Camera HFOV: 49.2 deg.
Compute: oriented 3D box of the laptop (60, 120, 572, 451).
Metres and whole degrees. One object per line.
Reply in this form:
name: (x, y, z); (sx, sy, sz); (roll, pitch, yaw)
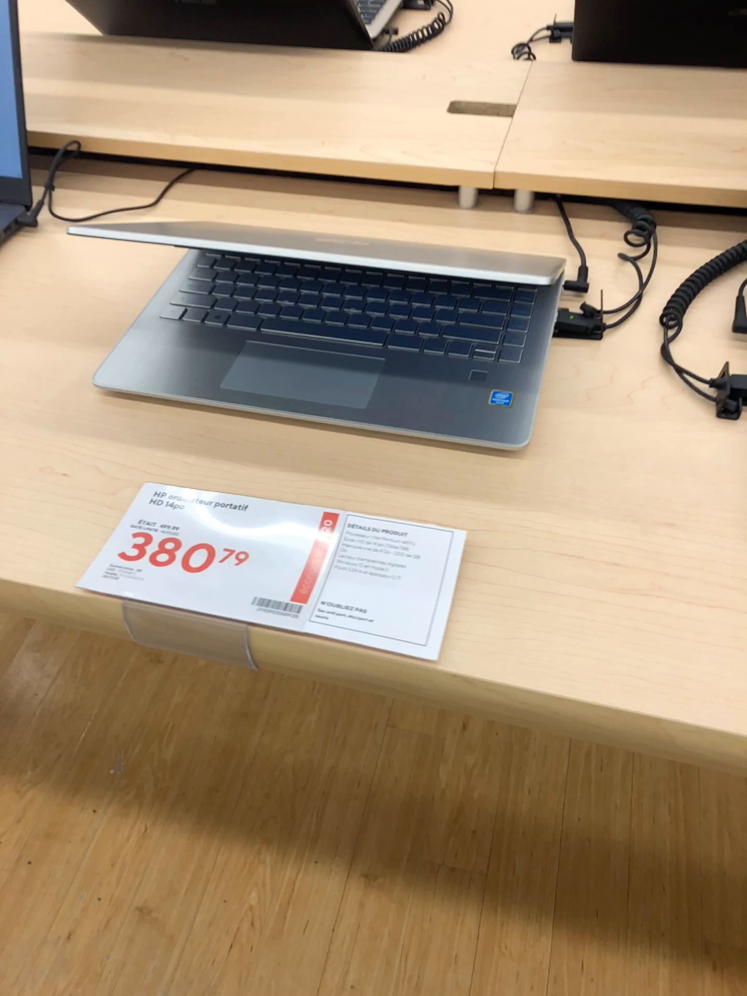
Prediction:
laptop: (-0.030, -0.172, 0.587); (0.319, 0.104, 0.217); (10, 47, 18)
